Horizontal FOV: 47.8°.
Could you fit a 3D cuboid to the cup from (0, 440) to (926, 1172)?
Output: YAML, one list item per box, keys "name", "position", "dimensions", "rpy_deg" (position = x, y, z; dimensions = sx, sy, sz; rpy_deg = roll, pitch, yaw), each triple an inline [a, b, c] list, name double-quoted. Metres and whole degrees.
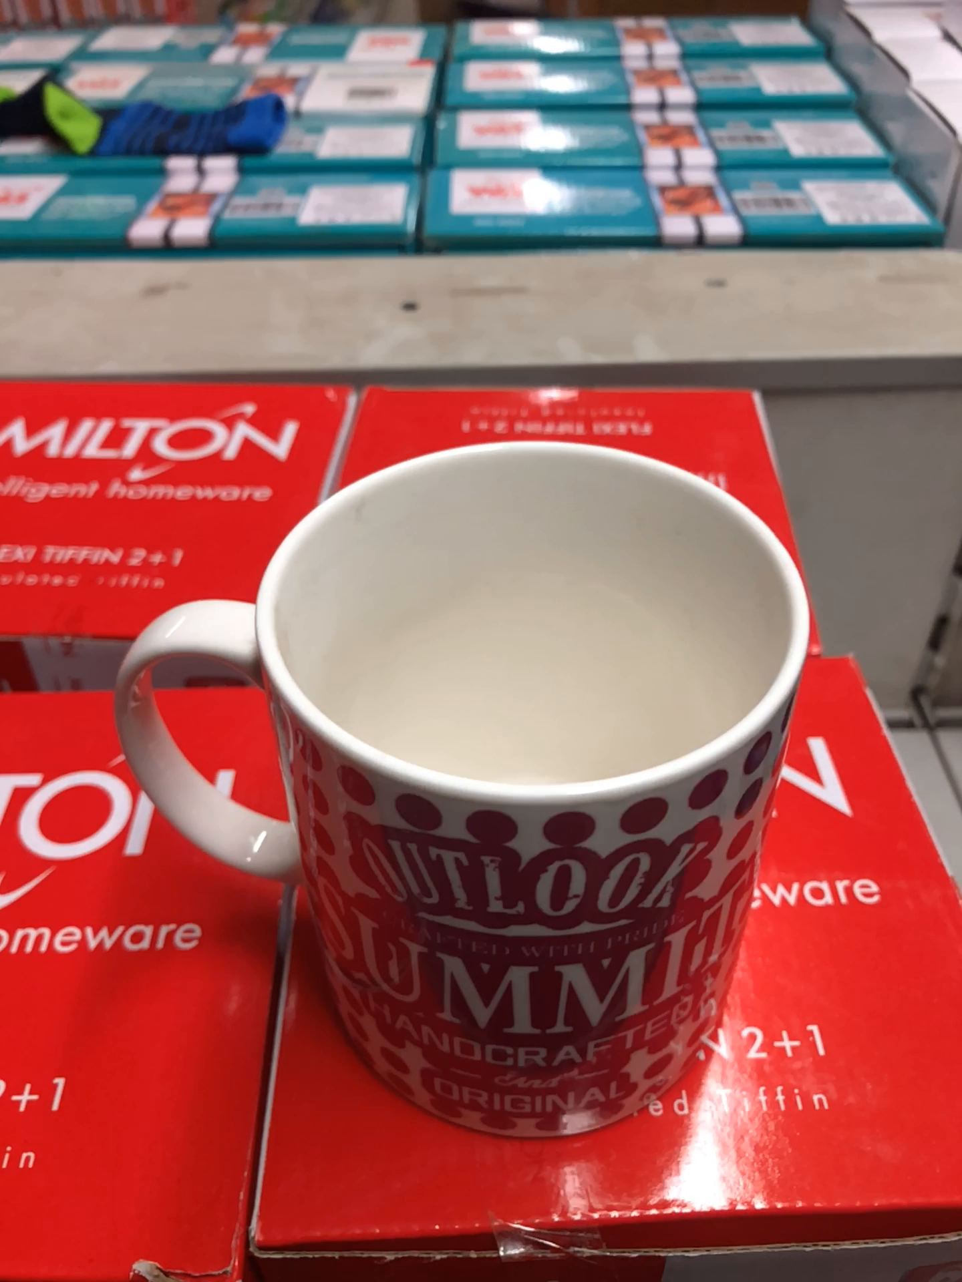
- name: "cup"
  position: [-0.001, 0.030, 0.191]
  dimensions: [0.110, 0.099, 0.081]
  rpy_deg: [1, 43, 2]
